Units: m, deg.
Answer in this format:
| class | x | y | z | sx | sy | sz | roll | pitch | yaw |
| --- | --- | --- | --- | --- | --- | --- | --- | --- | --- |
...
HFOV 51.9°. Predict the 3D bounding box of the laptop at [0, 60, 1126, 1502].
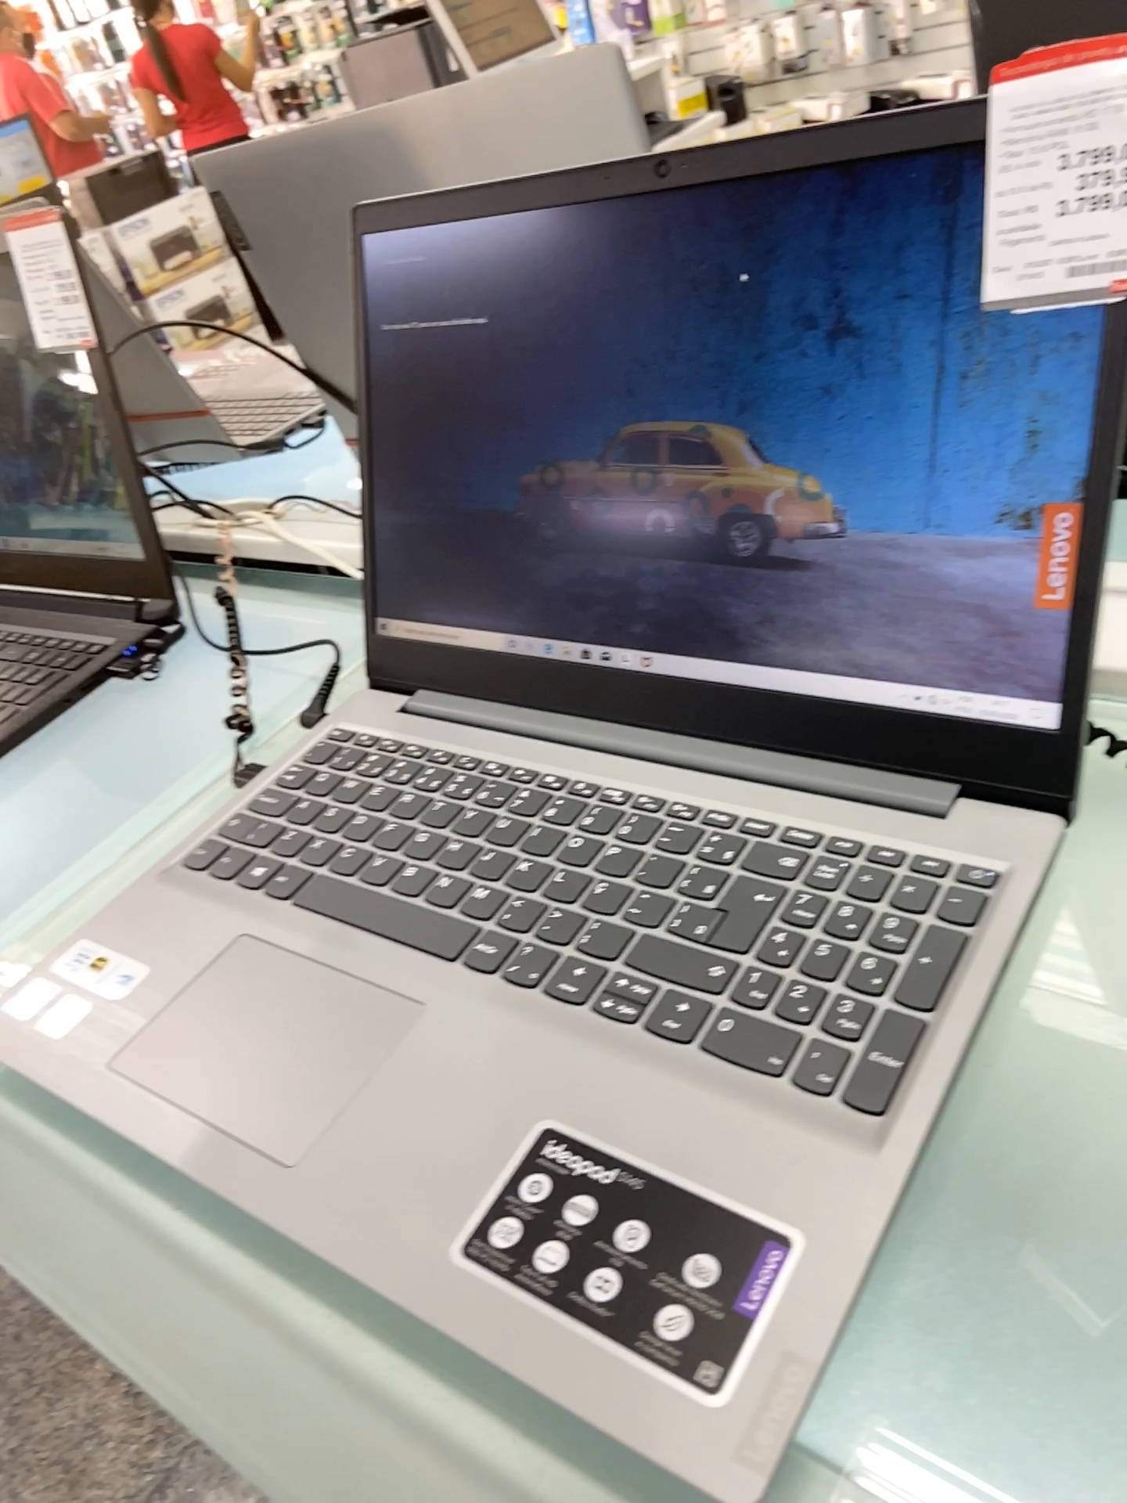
| class | x | y | z | sx | sy | sz | roll | pitch | yaw |
| --- | --- | --- | --- | --- | --- | --- | --- | --- | --- |
| laptop | -0.033 | -0.049 | 0.418 | 0.364 | 0.213 | 0.361 | 11 | 43 | 37 |
